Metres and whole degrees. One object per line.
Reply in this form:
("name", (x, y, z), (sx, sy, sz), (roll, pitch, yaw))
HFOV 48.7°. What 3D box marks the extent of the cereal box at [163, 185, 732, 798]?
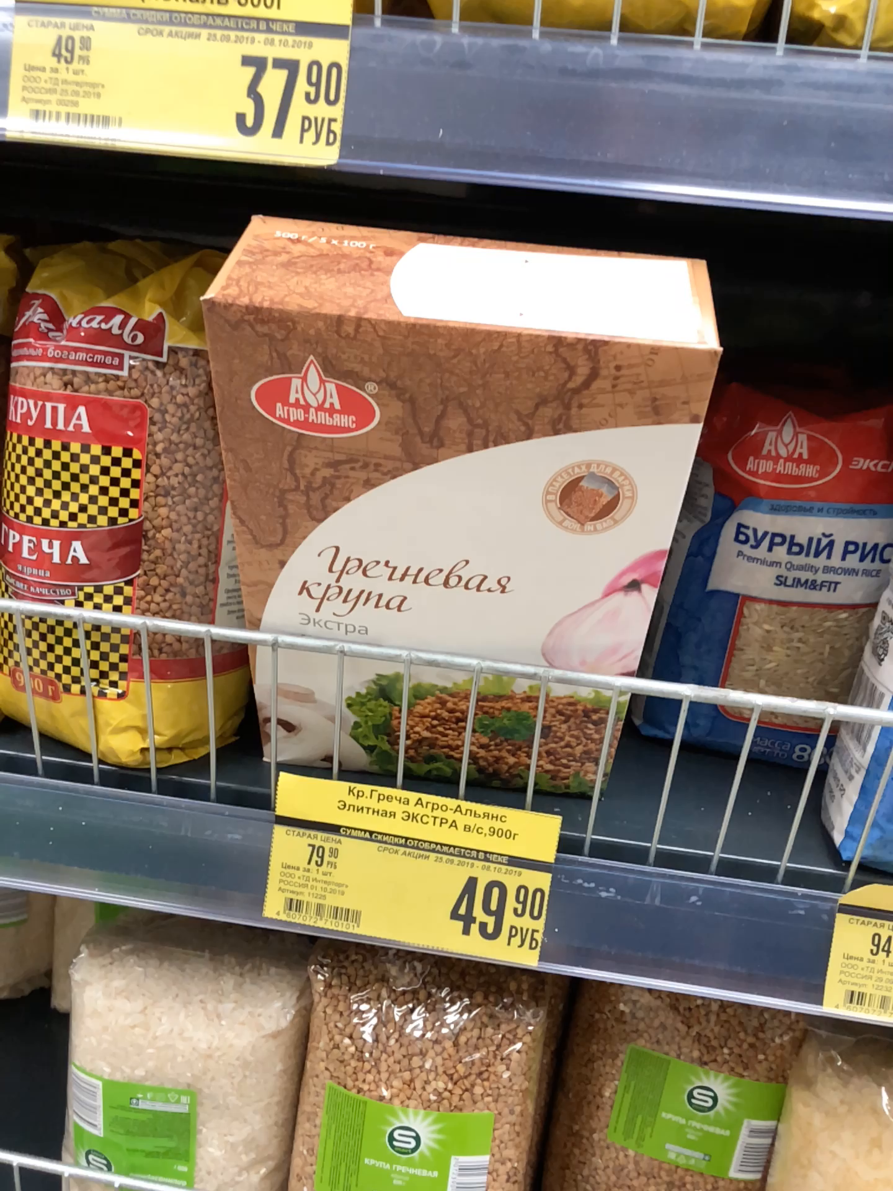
("cereal box", (-0.002, -0.020, 0.328), (0.140, 0.198, 0.050), (6, 44, 3))
